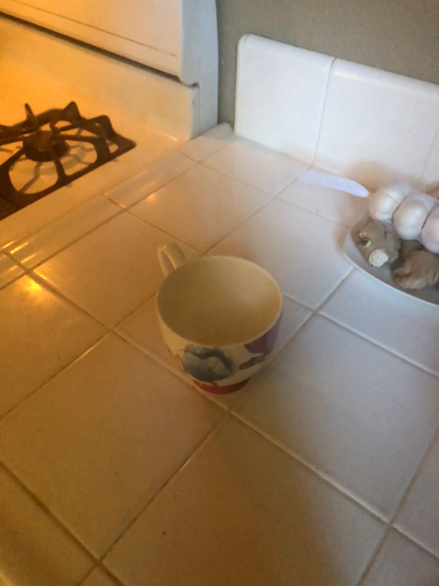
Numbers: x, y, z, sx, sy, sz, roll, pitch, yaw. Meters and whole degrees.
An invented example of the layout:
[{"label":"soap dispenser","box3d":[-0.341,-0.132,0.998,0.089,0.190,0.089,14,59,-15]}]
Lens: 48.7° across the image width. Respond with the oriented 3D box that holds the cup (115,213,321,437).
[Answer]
[{"label":"cup","box3d":[-0.007,0.022,0.454,0.100,0.089,0.171,-27,52,-24]}]
